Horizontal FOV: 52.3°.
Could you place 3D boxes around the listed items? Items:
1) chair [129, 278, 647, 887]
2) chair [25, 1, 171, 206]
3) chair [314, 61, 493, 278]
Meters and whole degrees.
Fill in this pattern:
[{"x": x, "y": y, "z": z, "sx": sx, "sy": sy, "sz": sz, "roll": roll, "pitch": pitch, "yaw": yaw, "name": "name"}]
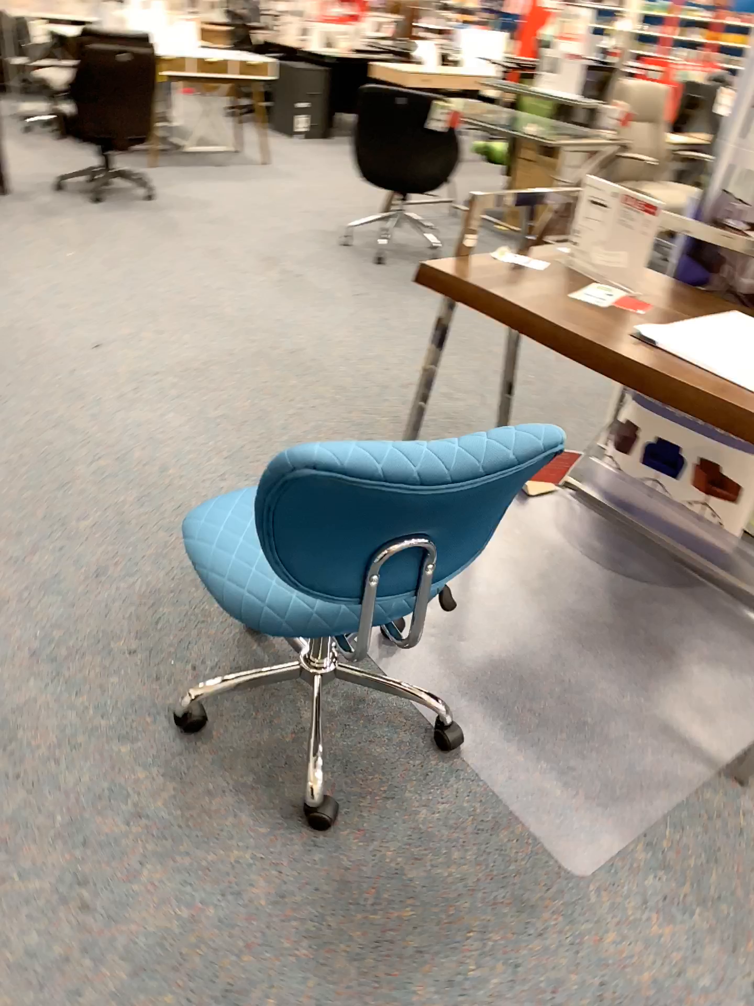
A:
[{"x": -0.070, "y": 0.086, "z": 1.415, "sx": 0.598, "sy": 0.775, "sz": 0.667, "roll": -8, "pitch": 36, "yaw": -23, "name": "chair"}, {"x": -1.681, "y": -2.406, "z": 4.648, "sx": 0.639, "sy": 0.954, "sz": 0.858, "roll": -9, "pitch": 37, "yaw": -24, "name": "chair"}, {"x": 0.192, "y": -2.018, "z": 4.528, "sx": 0.698, "sy": 0.874, "sz": 1.441, "roll": 12, "pitch": 34, "yaw": 7, "name": "chair"}]
